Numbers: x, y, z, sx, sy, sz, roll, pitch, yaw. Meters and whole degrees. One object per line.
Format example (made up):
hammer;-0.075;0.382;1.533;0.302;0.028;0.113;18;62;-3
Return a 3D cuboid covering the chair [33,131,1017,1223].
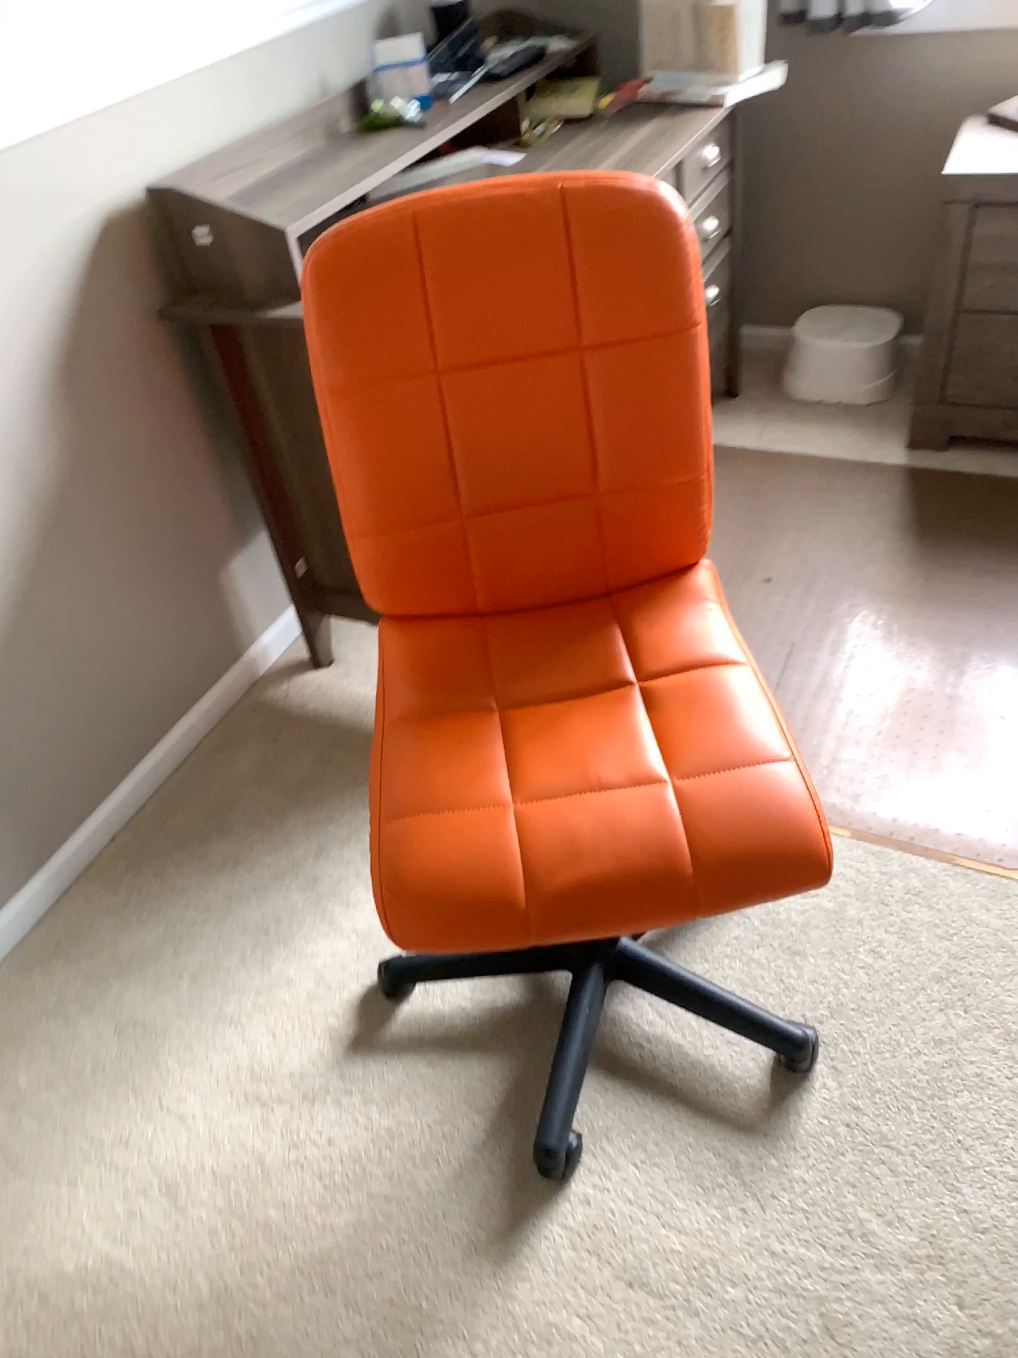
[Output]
chair;0.047;0.021;1.121;0.613;0.901;0.622;-10;40;-1
